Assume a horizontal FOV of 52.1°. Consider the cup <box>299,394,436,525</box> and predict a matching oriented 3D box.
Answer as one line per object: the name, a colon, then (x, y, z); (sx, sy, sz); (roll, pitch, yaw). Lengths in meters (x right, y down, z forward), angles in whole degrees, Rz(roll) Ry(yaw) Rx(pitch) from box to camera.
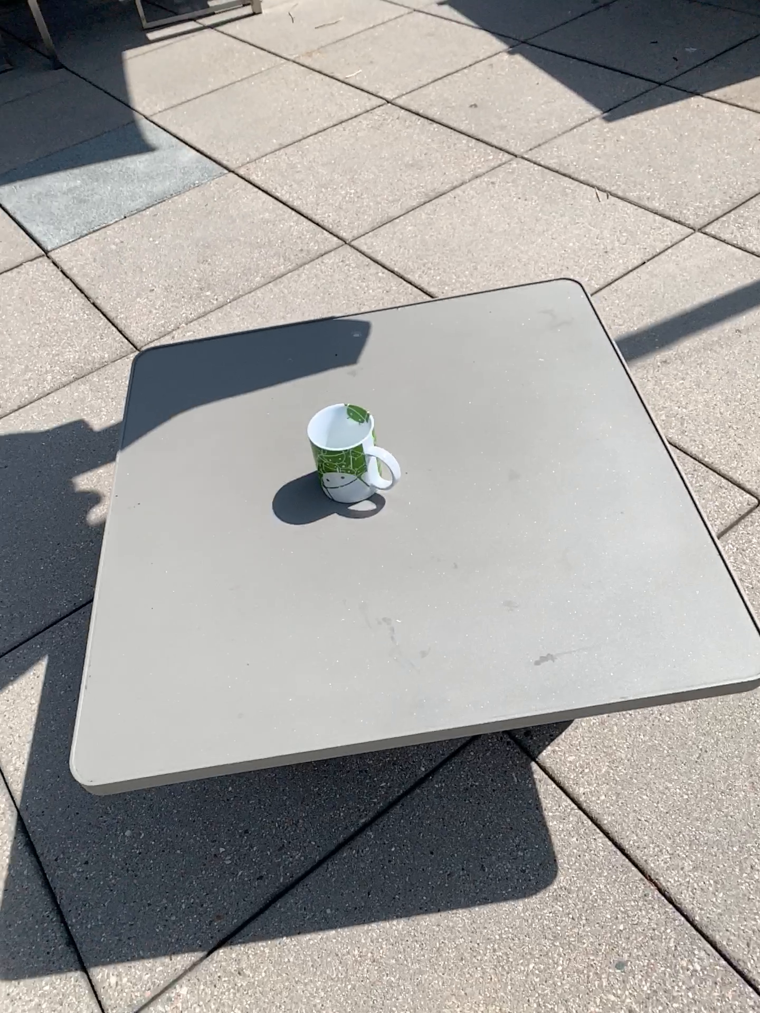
cup: (-0.011, -0.056, 0.898); (0.120, 0.090, 0.090); (15, 53, 22)
